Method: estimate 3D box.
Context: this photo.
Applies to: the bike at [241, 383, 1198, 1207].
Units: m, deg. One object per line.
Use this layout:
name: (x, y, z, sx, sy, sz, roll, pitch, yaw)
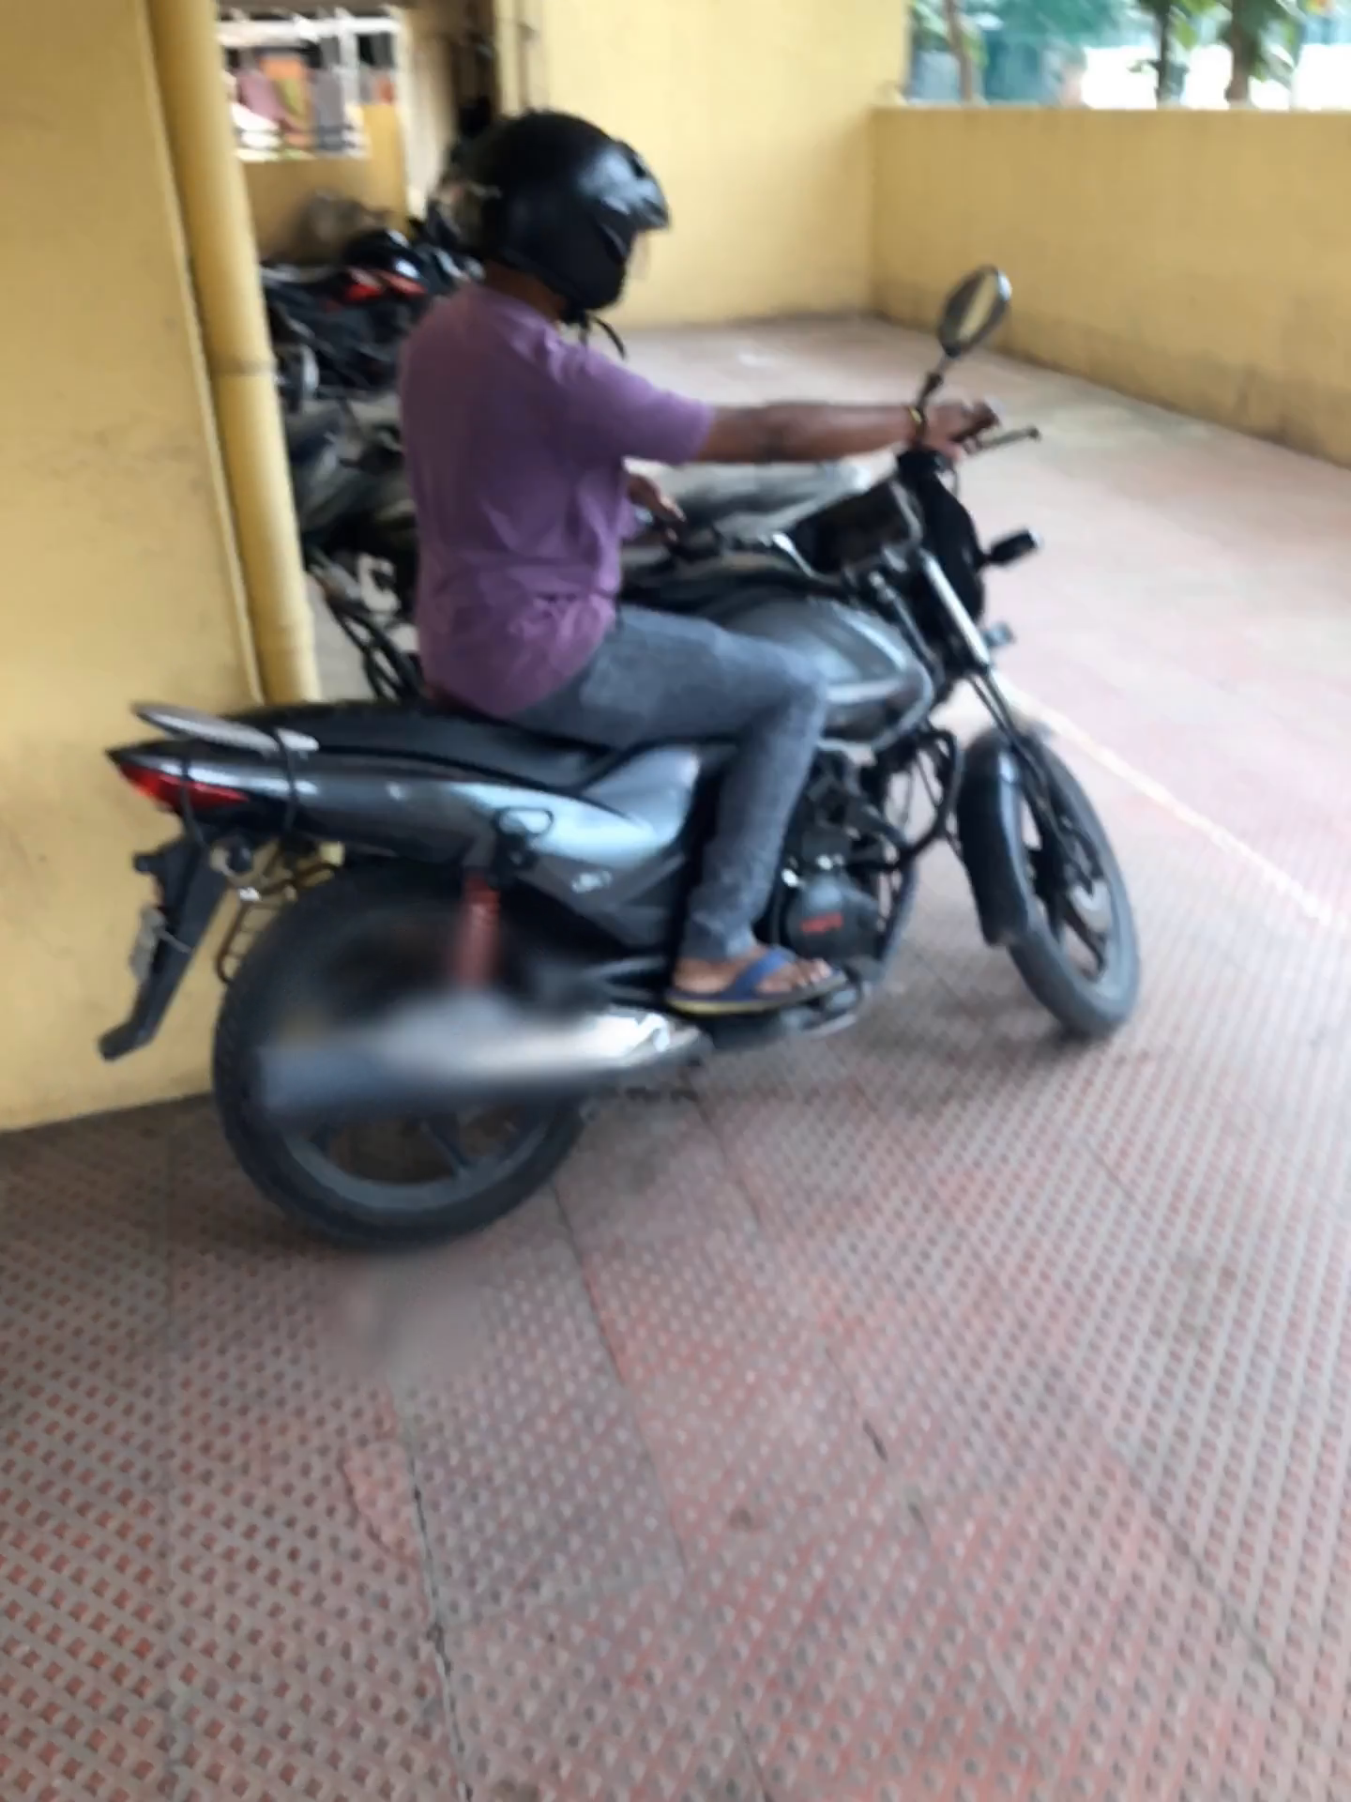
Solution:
bike: (0.077, -0.259, 2.484, 1.238, 0.999, 0.702, -14, 30, -25)
